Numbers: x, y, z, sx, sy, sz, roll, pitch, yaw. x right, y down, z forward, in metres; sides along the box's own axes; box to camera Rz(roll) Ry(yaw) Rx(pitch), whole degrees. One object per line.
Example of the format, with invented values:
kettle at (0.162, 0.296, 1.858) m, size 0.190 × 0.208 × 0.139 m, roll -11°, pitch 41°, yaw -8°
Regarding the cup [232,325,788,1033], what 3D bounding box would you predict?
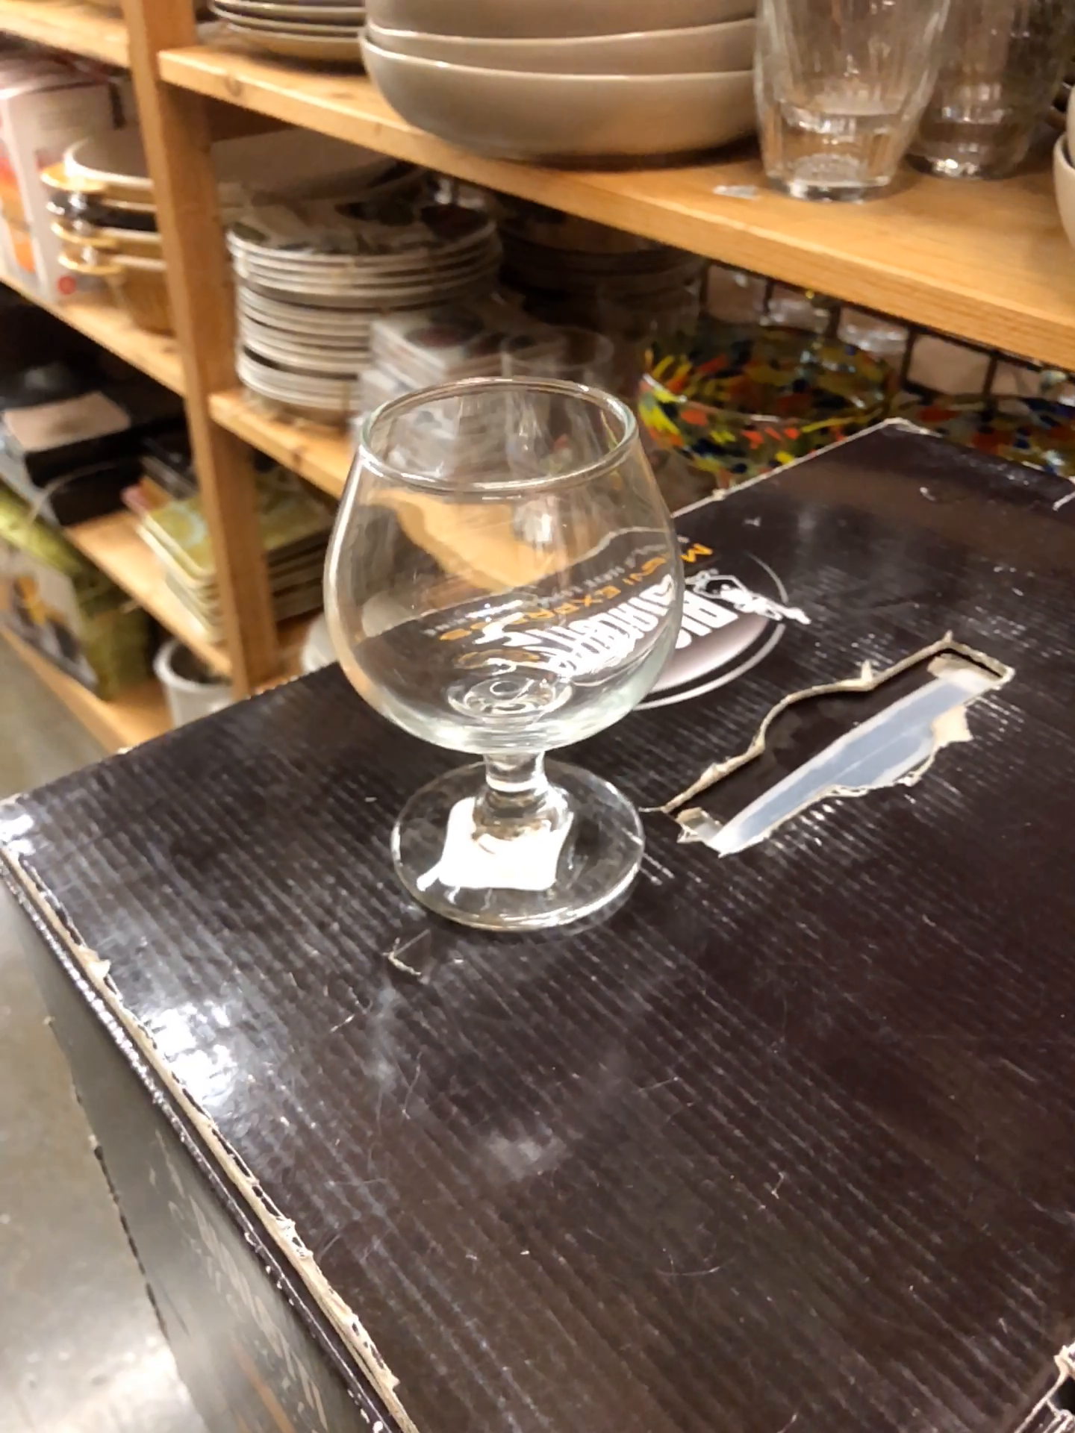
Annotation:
cup at (-0.007, -0.009, 0.242) m, size 0.071 × 0.106 × 0.069 m, roll 0°, pitch 38°, yaw 0°
